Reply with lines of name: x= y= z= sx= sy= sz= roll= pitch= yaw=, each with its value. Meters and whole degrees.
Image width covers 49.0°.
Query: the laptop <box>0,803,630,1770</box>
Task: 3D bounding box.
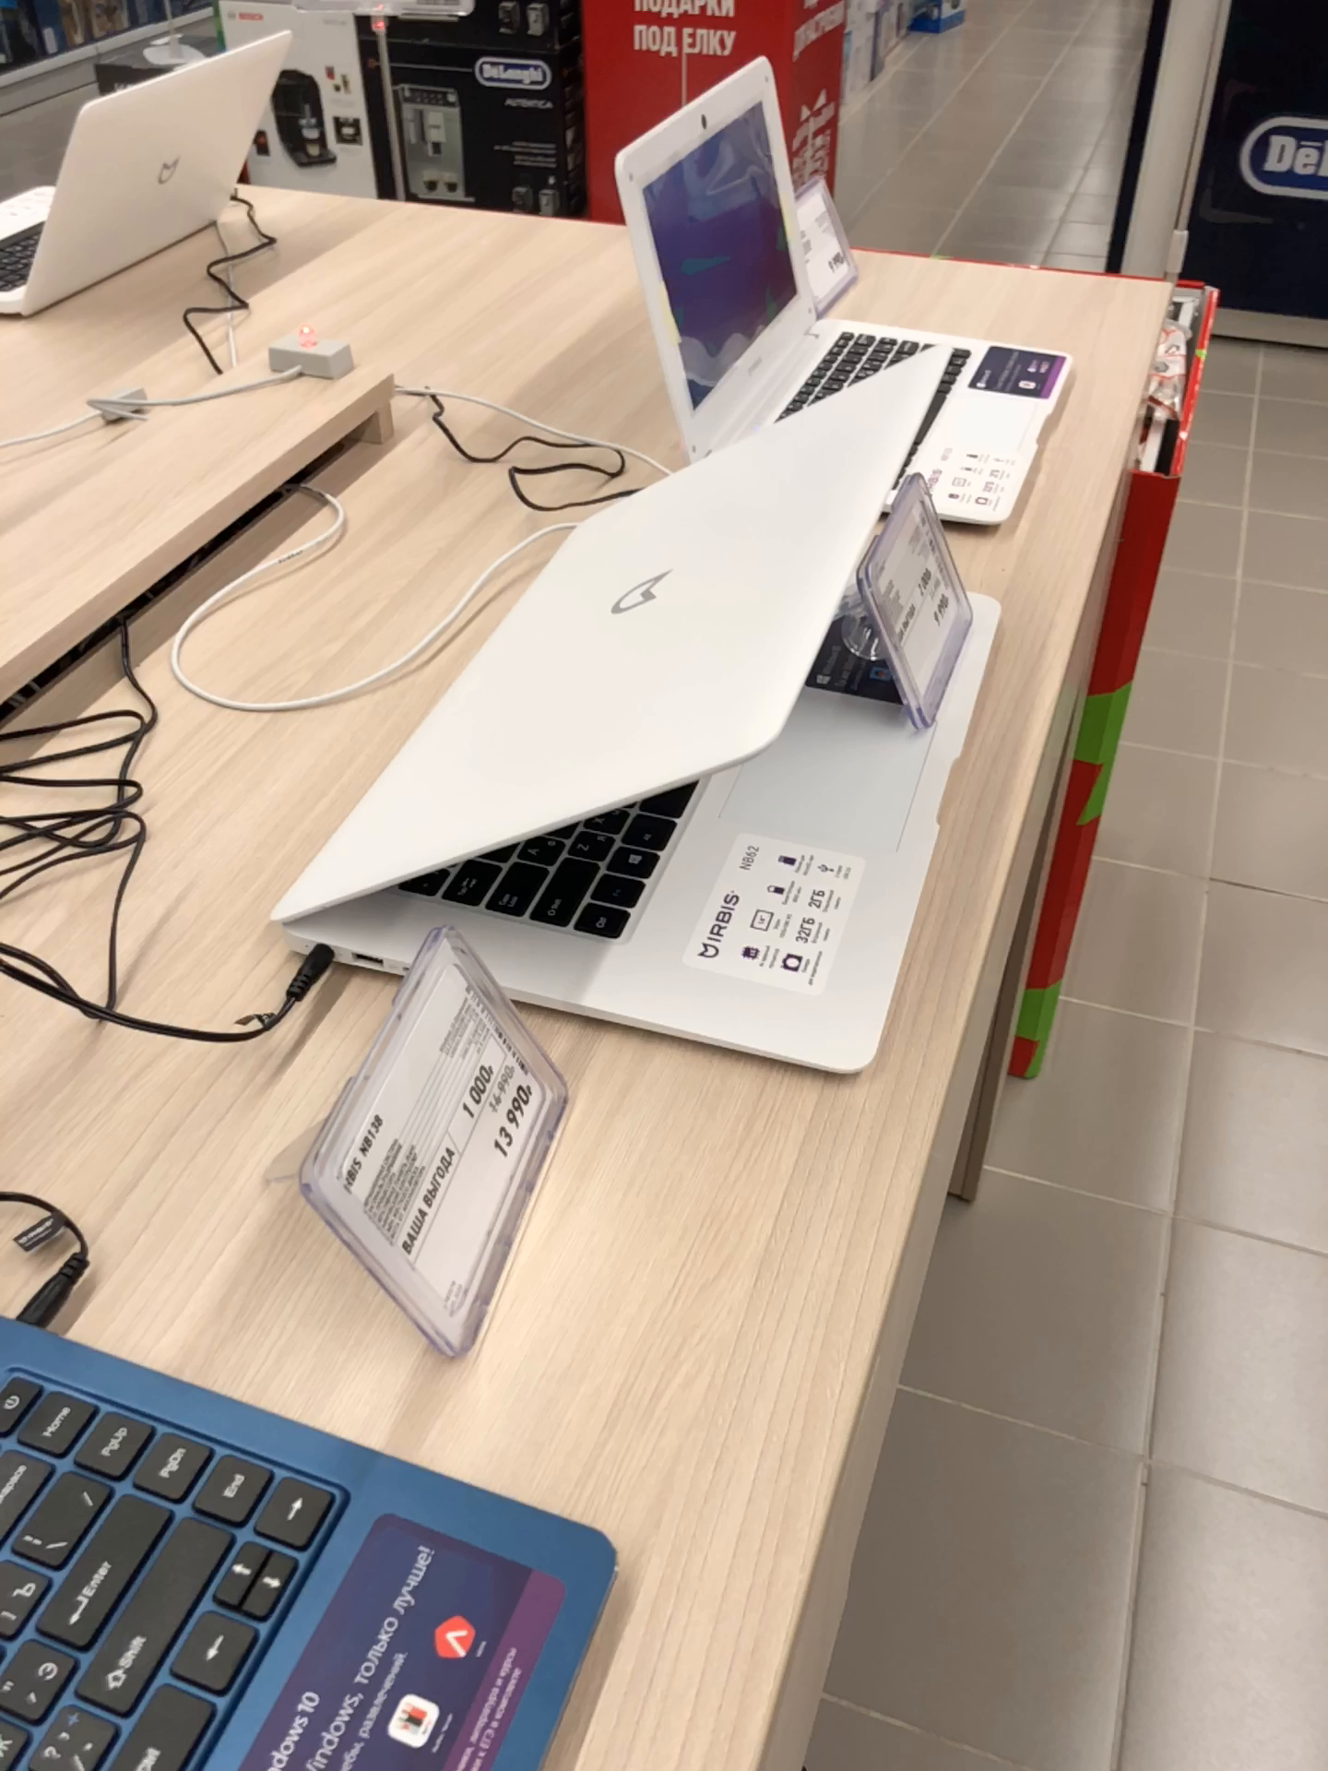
laptop: x=-0.212 y=0.165 z=0.244 sx=0.318 sy=0.162 sz=0.311 roll=12 pitch=40 yaw=14

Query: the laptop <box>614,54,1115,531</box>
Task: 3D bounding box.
laptop: x=0.126 y=-0.375 z=0.893 sx=0.230 sy=0.168 sz=0.264 roll=14 pitch=43 yaw=16

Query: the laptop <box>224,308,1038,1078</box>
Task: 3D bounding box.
laptop: x=0.017 y=-0.112 z=0.614 sx=0.223 sy=0.115 sz=0.351 roll=13 pitch=41 yaw=12
